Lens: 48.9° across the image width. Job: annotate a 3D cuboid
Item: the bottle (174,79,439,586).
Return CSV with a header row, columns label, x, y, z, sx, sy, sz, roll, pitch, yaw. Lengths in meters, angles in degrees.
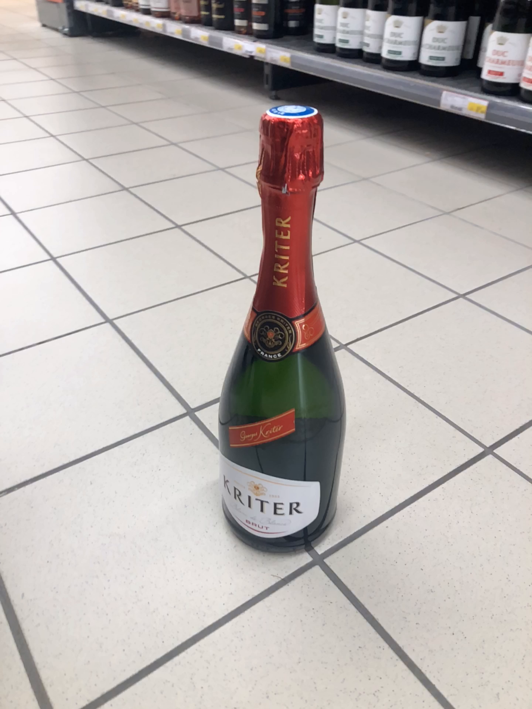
label,x,y,z,sx,sy,sz,roll,pitch,yaw
bottle,0.023,-0.002,0.376,0.100,0.298,0.101,0,34,0
